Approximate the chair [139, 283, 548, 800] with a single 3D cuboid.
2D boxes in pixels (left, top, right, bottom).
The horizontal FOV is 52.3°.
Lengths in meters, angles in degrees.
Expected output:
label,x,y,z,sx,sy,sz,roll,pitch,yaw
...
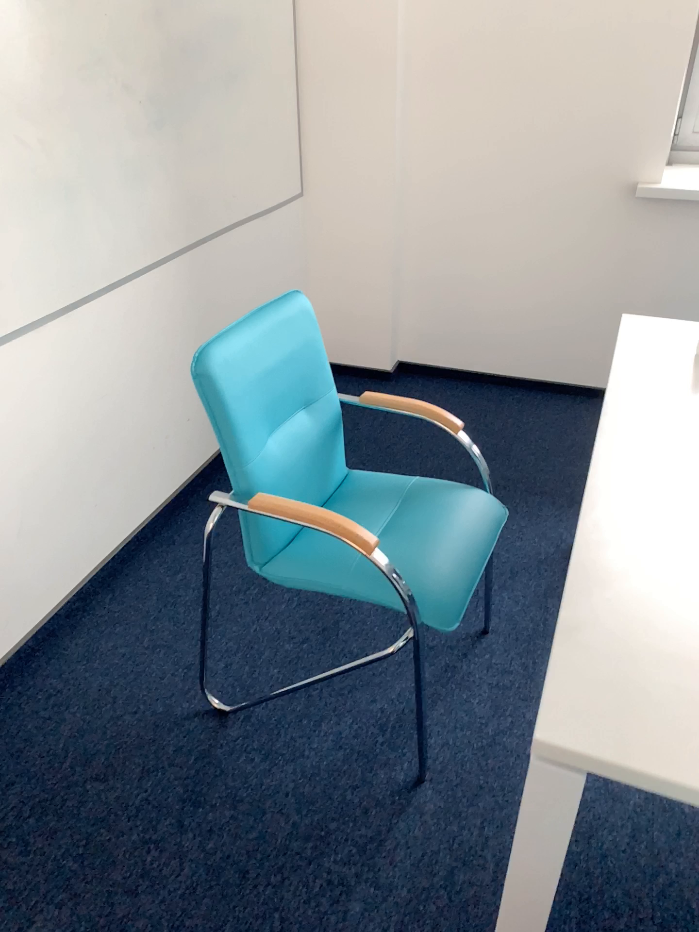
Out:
label,x,y,z,sx,sy,sz,roll,pitch,yaw
chair,0.022,0.144,1.696,0.650,0.925,0.583,13,34,21
